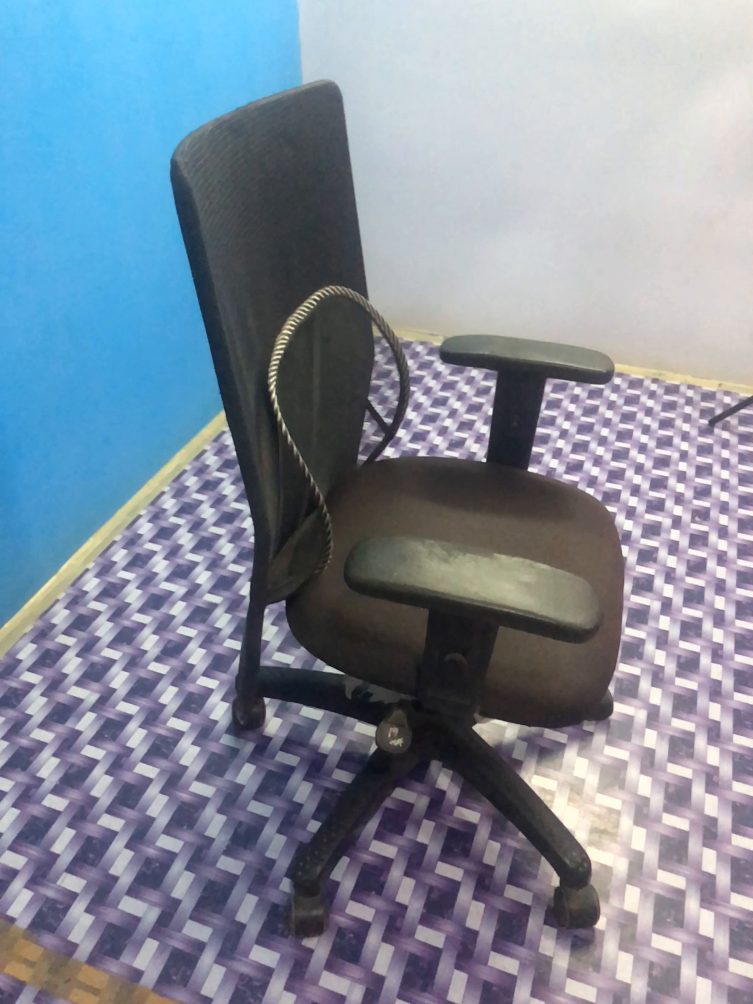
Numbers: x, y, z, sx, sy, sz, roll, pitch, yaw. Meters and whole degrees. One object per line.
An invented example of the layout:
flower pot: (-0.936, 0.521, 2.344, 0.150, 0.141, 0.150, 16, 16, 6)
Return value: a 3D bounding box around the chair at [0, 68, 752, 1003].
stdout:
chair: (0.066, 0.015, 1.032, 0.670, 0.885, 0.664, 7, 36, 9)
